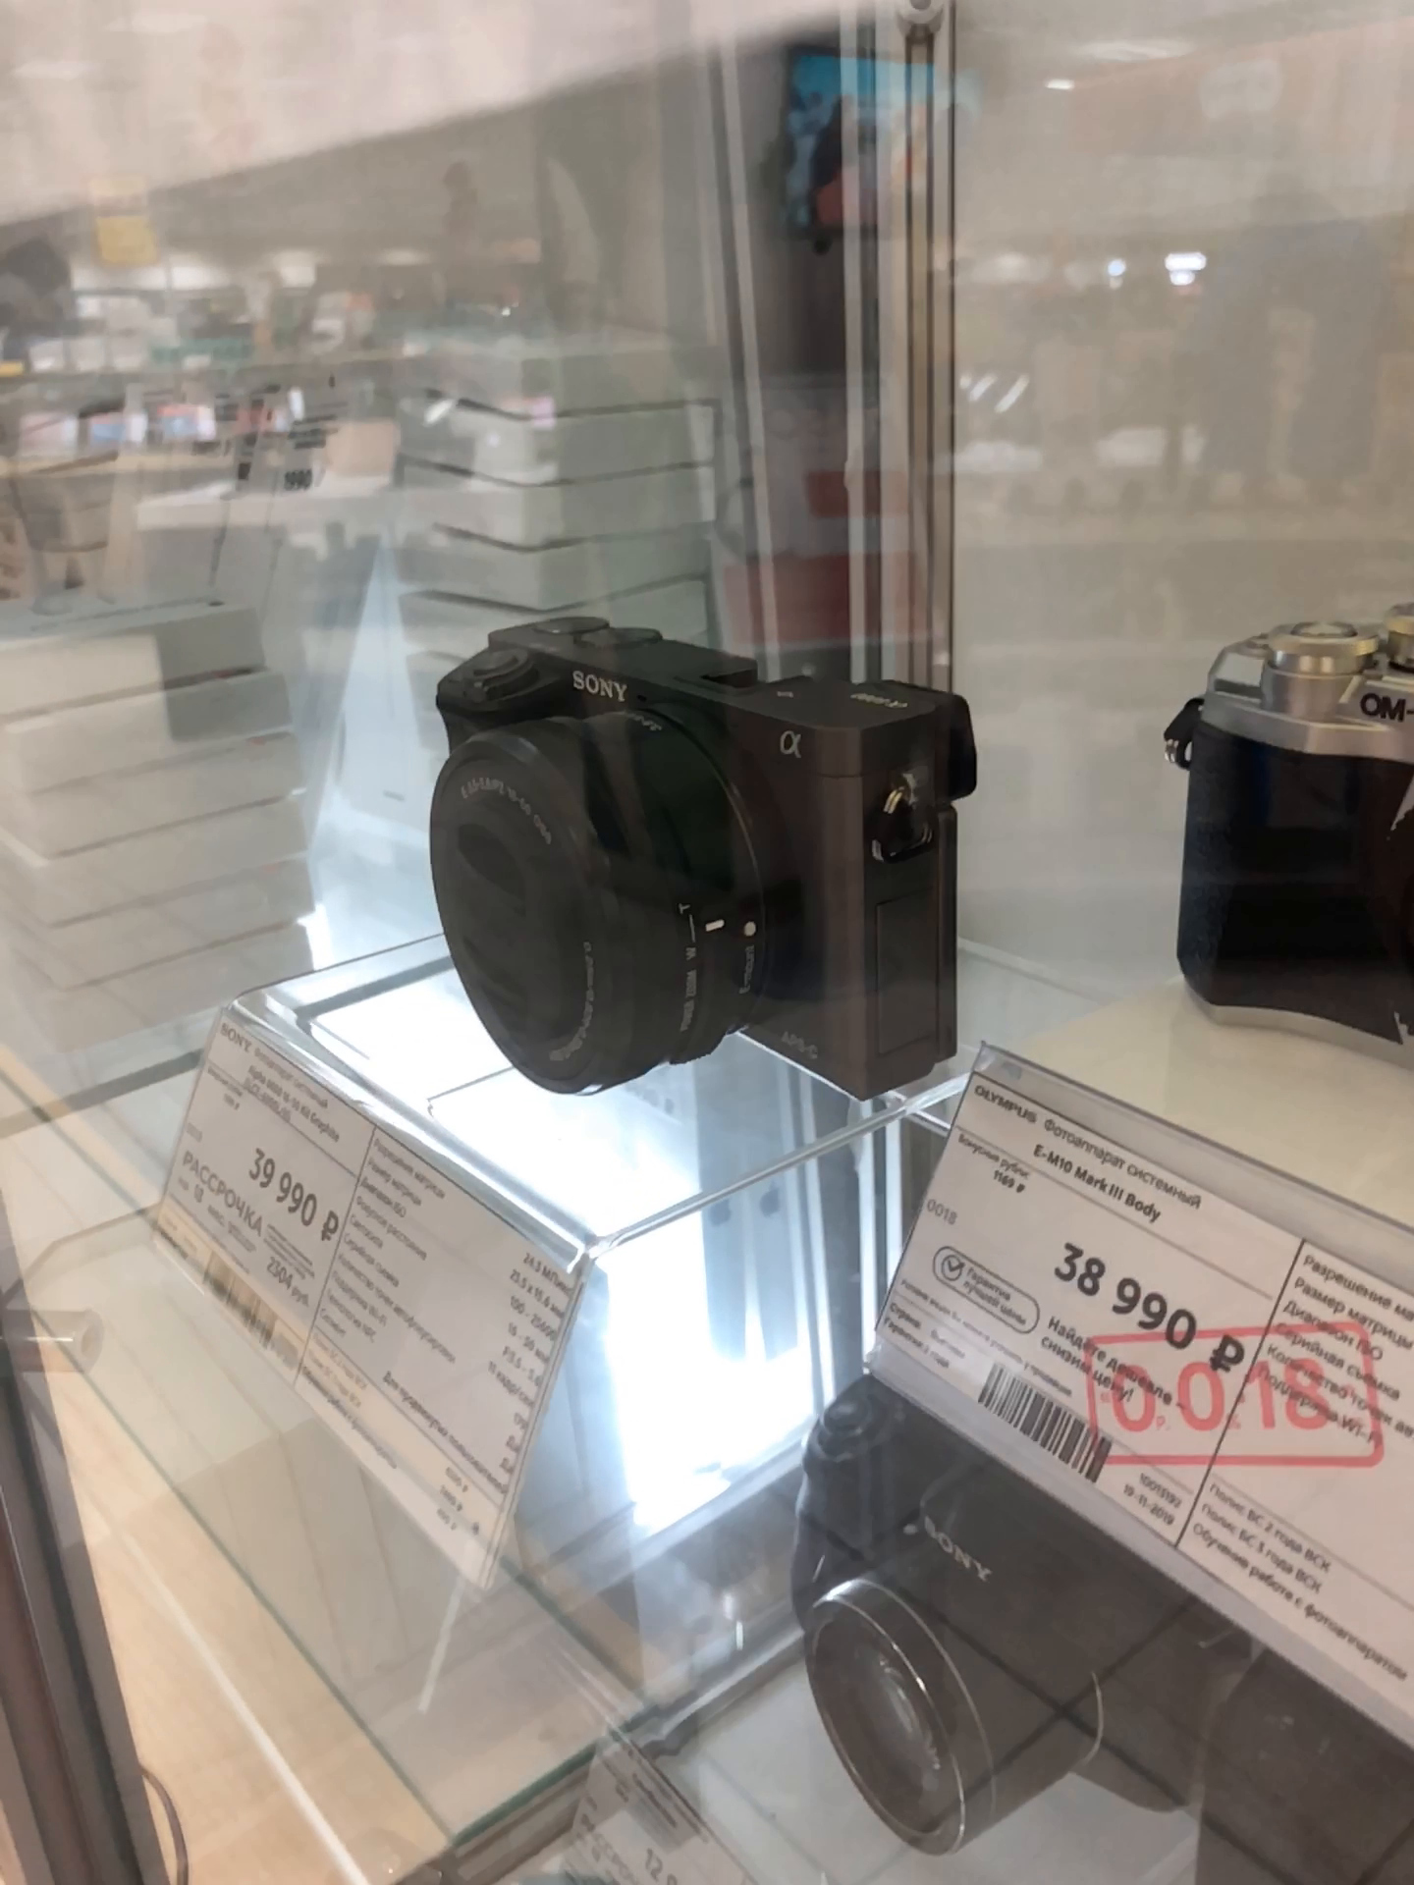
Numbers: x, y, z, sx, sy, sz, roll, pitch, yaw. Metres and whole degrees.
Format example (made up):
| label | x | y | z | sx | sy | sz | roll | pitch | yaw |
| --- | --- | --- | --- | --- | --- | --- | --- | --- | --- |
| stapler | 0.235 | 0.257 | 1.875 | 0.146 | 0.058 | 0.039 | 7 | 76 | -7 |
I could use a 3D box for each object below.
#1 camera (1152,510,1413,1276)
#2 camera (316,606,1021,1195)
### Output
| label | x | y | z | sx | sy | sz | roll | pitch | yaw |
| --- | --- | --- | --- | --- | --- | --- | --- | --- | --- |
| camera | 0.153 | -0.022 | 0.259 | 0.087 | 0.081 | 0.123 | -18 | 25 | -33 |
| camera | -0.012 | -0.018 | 0.300 | 0.066 | 0.070 | 0.130 | -18 | 25 | -33 |
